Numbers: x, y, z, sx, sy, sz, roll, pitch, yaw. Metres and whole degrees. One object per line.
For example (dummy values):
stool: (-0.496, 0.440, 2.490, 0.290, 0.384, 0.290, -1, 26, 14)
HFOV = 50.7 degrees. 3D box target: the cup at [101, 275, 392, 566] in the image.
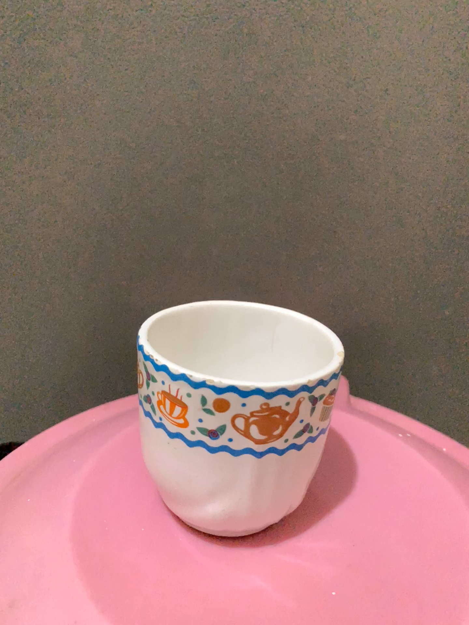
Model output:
cup: (0.003, 0.029, 0.171, 0.075, 0.062, 0.072, 4, 17, -1)
